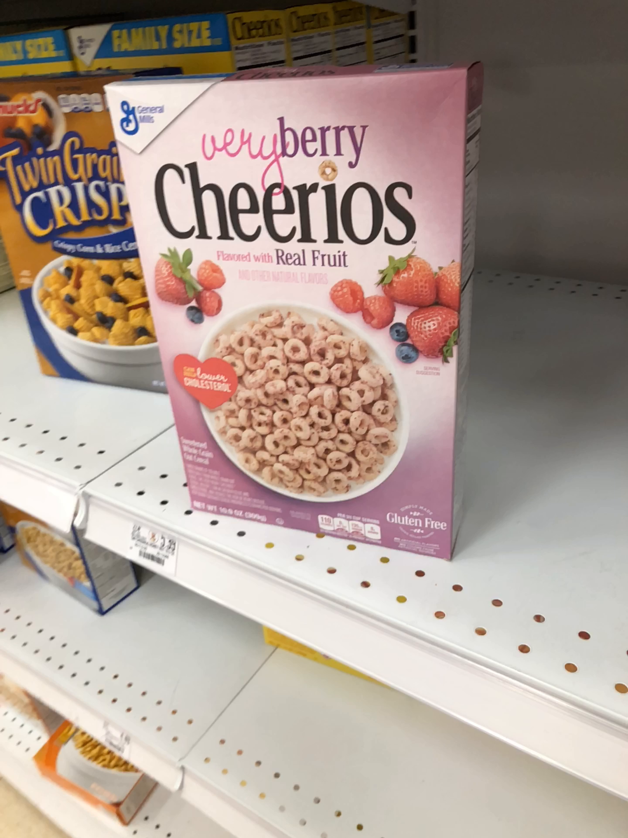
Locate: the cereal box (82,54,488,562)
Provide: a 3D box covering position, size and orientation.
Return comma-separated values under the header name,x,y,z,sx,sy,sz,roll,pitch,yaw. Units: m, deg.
name,x,y,z,sx,sy,sz,roll,pitch,yaw
cereal box,-0.006,-0.057,0.426,0.200,0.279,0.060,8,34,22
